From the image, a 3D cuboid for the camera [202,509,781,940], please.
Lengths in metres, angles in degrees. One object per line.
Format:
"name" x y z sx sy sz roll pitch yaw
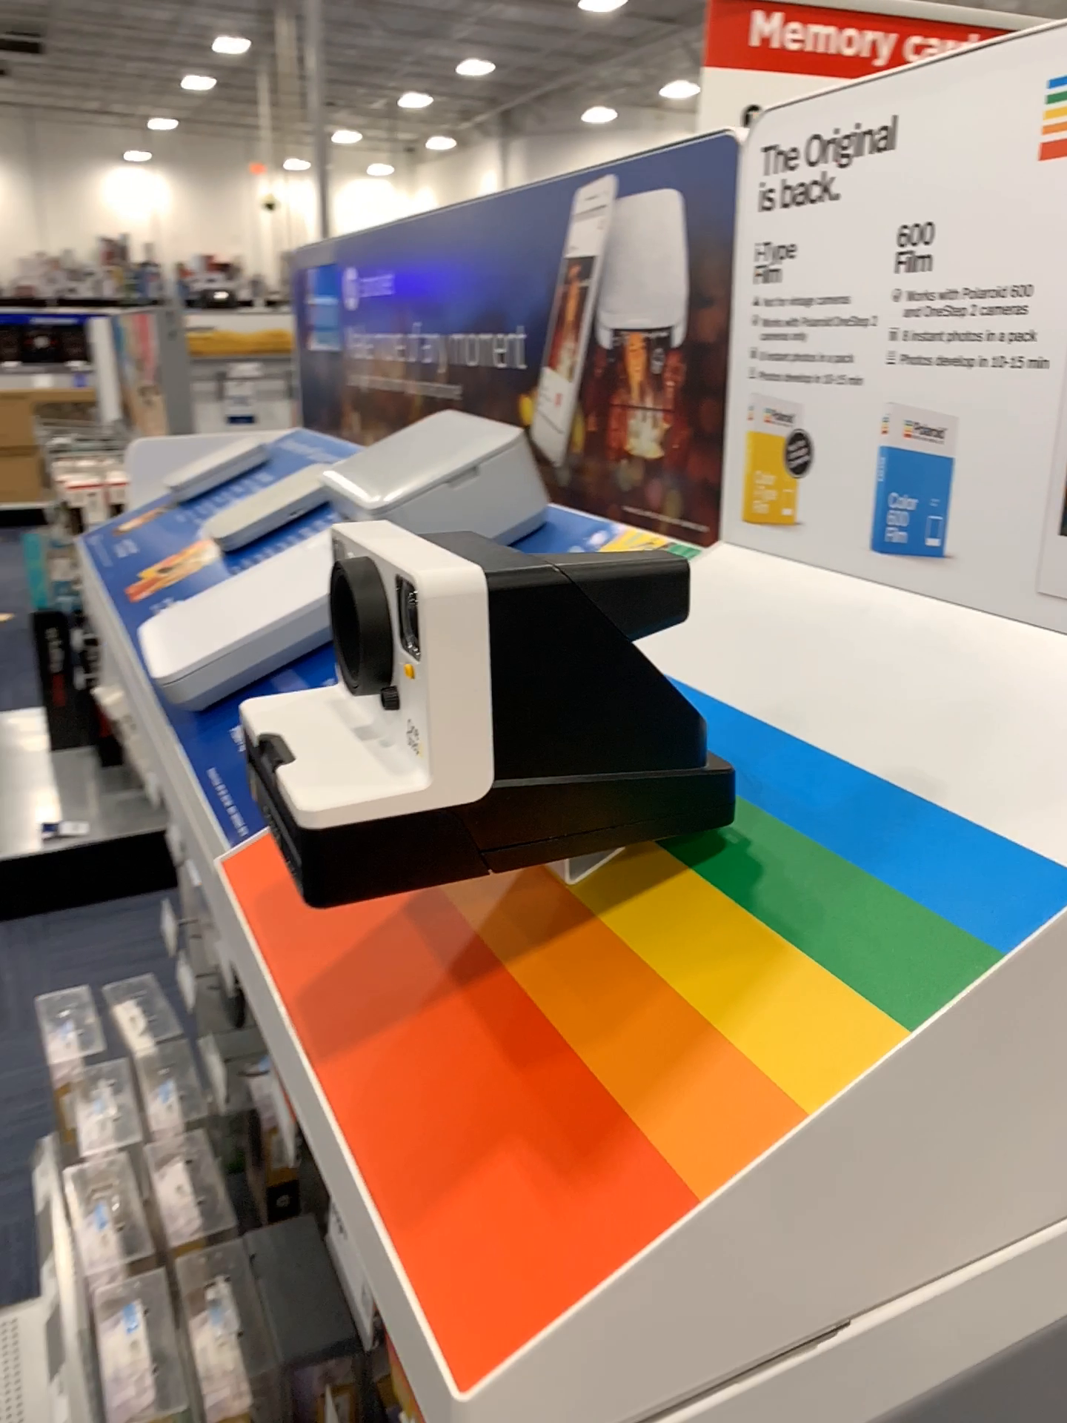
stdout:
"camera" -0.020 -0.010 0.374 0.150 0.090 0.131 -9 21 -24
